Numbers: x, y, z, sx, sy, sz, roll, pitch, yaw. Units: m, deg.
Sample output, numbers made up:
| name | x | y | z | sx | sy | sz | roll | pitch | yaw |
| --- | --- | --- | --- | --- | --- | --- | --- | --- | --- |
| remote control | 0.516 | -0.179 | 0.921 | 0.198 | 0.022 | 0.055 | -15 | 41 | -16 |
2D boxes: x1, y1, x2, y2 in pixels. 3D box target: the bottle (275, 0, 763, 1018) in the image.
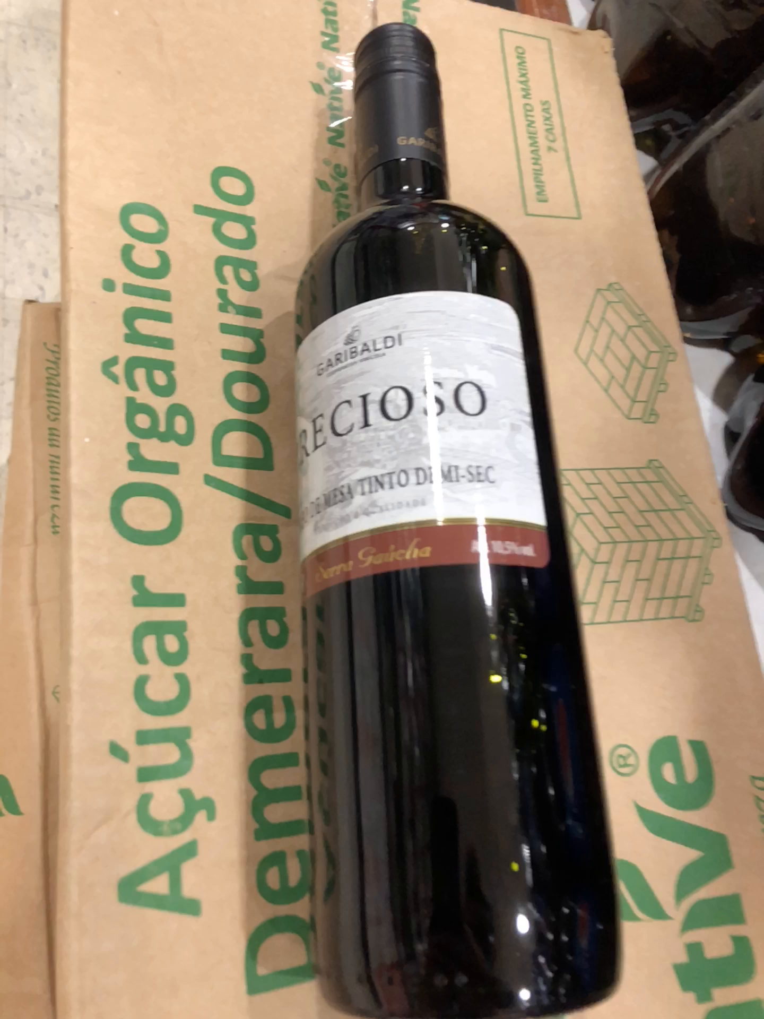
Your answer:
| name | x | y | z | sx | sy | sz | roll | pitch | yaw |
| --- | --- | --- | --- | --- | --- | --- | --- | --- | --- |
| bottle | 0.027 | -0.042 | 0.247 | 0.090 | 0.080 | 0.341 | 6 | 66 | -24 |
